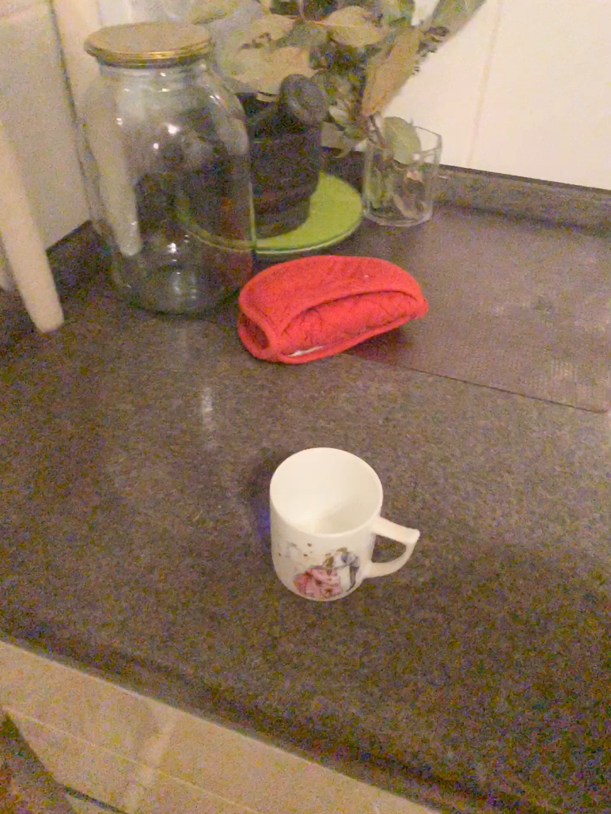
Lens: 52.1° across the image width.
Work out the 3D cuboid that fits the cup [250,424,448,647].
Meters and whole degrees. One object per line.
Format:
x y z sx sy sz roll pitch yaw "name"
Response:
0.022 0.067 0.337 0.080 0.069 0.060 24 47 23 "cup"
